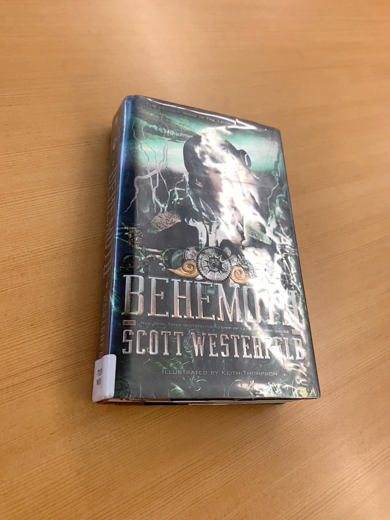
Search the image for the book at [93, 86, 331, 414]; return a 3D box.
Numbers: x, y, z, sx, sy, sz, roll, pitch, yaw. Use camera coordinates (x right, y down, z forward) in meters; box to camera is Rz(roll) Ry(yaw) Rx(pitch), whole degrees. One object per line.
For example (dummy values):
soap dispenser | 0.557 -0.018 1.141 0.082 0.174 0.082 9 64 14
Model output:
book | 0.008 -0.011 0.317 0.150 0.050 0.241 6 65 -18
